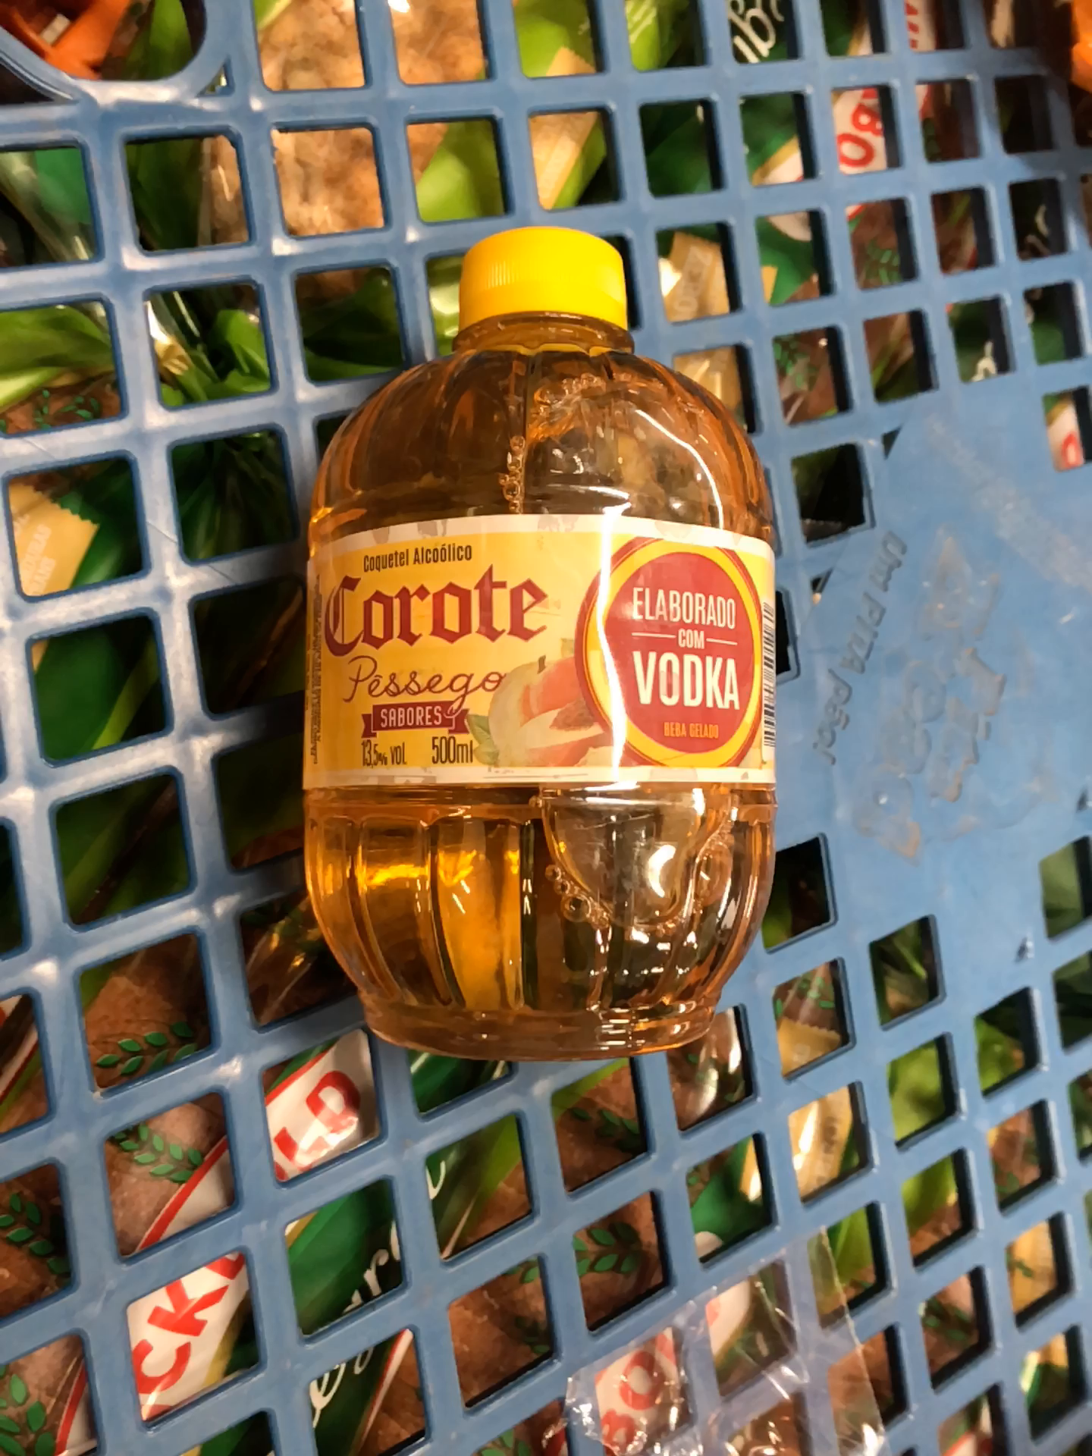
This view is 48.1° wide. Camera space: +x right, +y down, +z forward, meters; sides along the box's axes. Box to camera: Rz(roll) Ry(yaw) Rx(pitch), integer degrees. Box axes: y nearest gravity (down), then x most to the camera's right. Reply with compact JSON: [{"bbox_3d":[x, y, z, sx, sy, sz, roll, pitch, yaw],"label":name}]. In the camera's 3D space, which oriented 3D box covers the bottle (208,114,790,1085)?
[{"bbox_3d":[-0.003,-0.016,0.203,0.080,0.070,0.130,-1,87,9],"label":"bottle"}]
